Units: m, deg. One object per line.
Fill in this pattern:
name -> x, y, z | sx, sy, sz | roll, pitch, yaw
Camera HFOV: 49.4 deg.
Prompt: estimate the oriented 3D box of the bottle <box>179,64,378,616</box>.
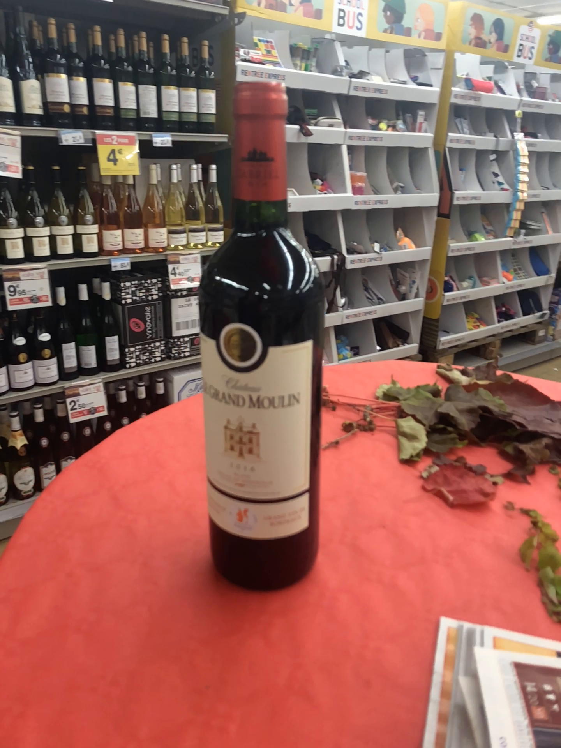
bottle -> -0.002, -0.013, 0.363 | 0.080, 0.298, 0.080 | 2, 20, -1
